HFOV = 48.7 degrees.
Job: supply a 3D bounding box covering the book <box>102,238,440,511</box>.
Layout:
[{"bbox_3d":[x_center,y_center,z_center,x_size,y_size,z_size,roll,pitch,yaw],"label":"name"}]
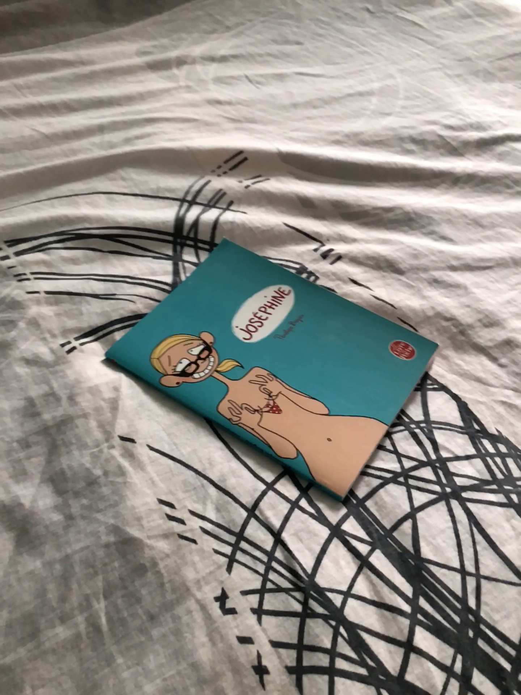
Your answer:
[{"bbox_3d":[0.008,0.004,0.407,0.187,0.014,0.145,29,58,21],"label":"book"}]
